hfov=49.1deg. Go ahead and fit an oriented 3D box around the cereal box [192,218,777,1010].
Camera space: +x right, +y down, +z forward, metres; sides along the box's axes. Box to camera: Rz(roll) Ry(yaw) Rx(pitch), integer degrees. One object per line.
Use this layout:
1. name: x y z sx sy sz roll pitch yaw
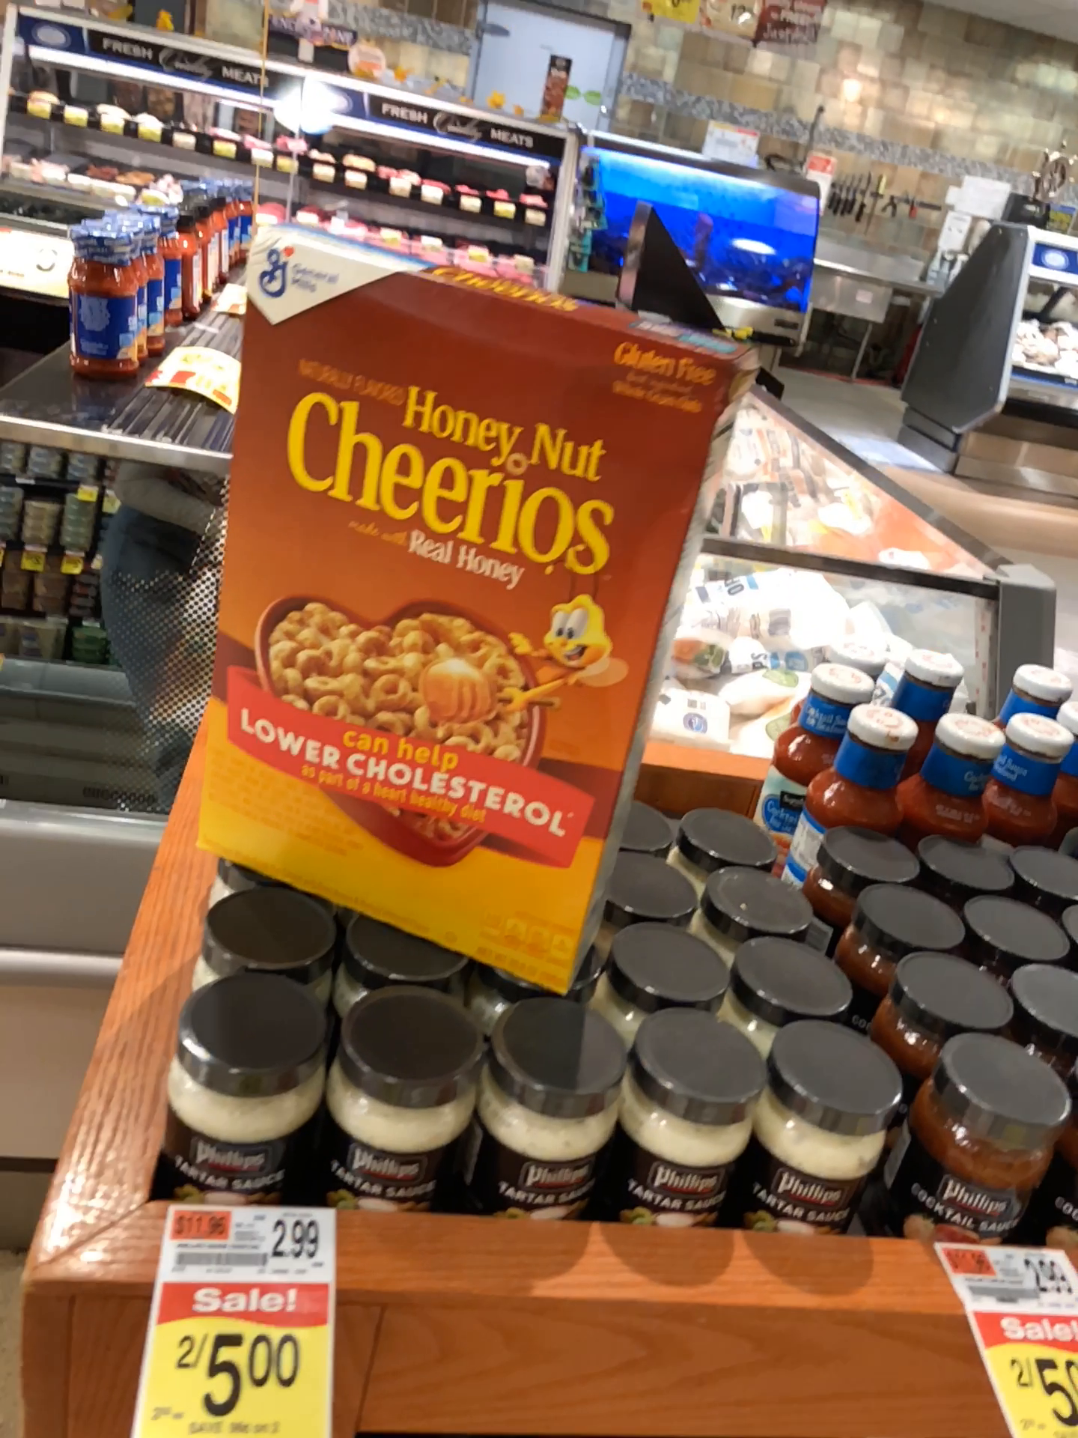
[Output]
1. cereal box: -0.039 -0.040 0.508 0.200 0.288 0.050 19 25 14
